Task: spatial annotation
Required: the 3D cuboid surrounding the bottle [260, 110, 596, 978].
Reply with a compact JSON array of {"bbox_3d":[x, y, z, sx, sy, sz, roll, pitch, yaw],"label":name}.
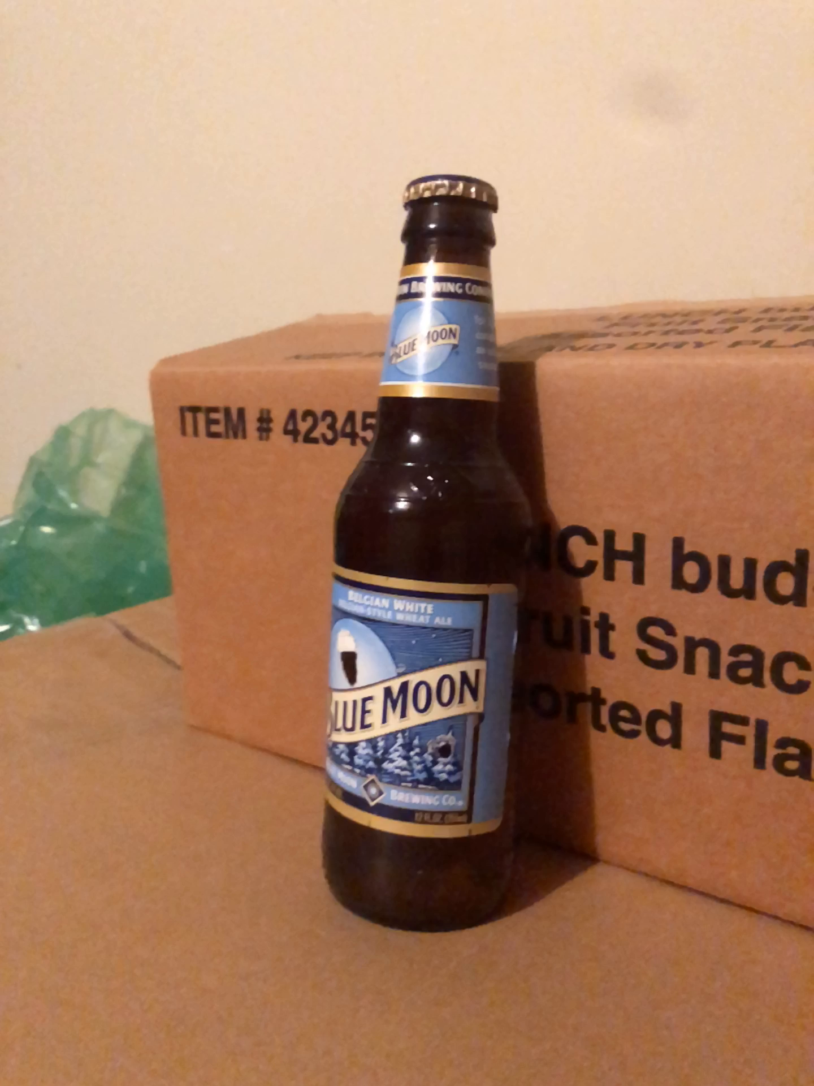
[{"bbox_3d":[0.008,0.001,0.262,0.070,0.210,0.060,5,10,32],"label":"bottle"}]
